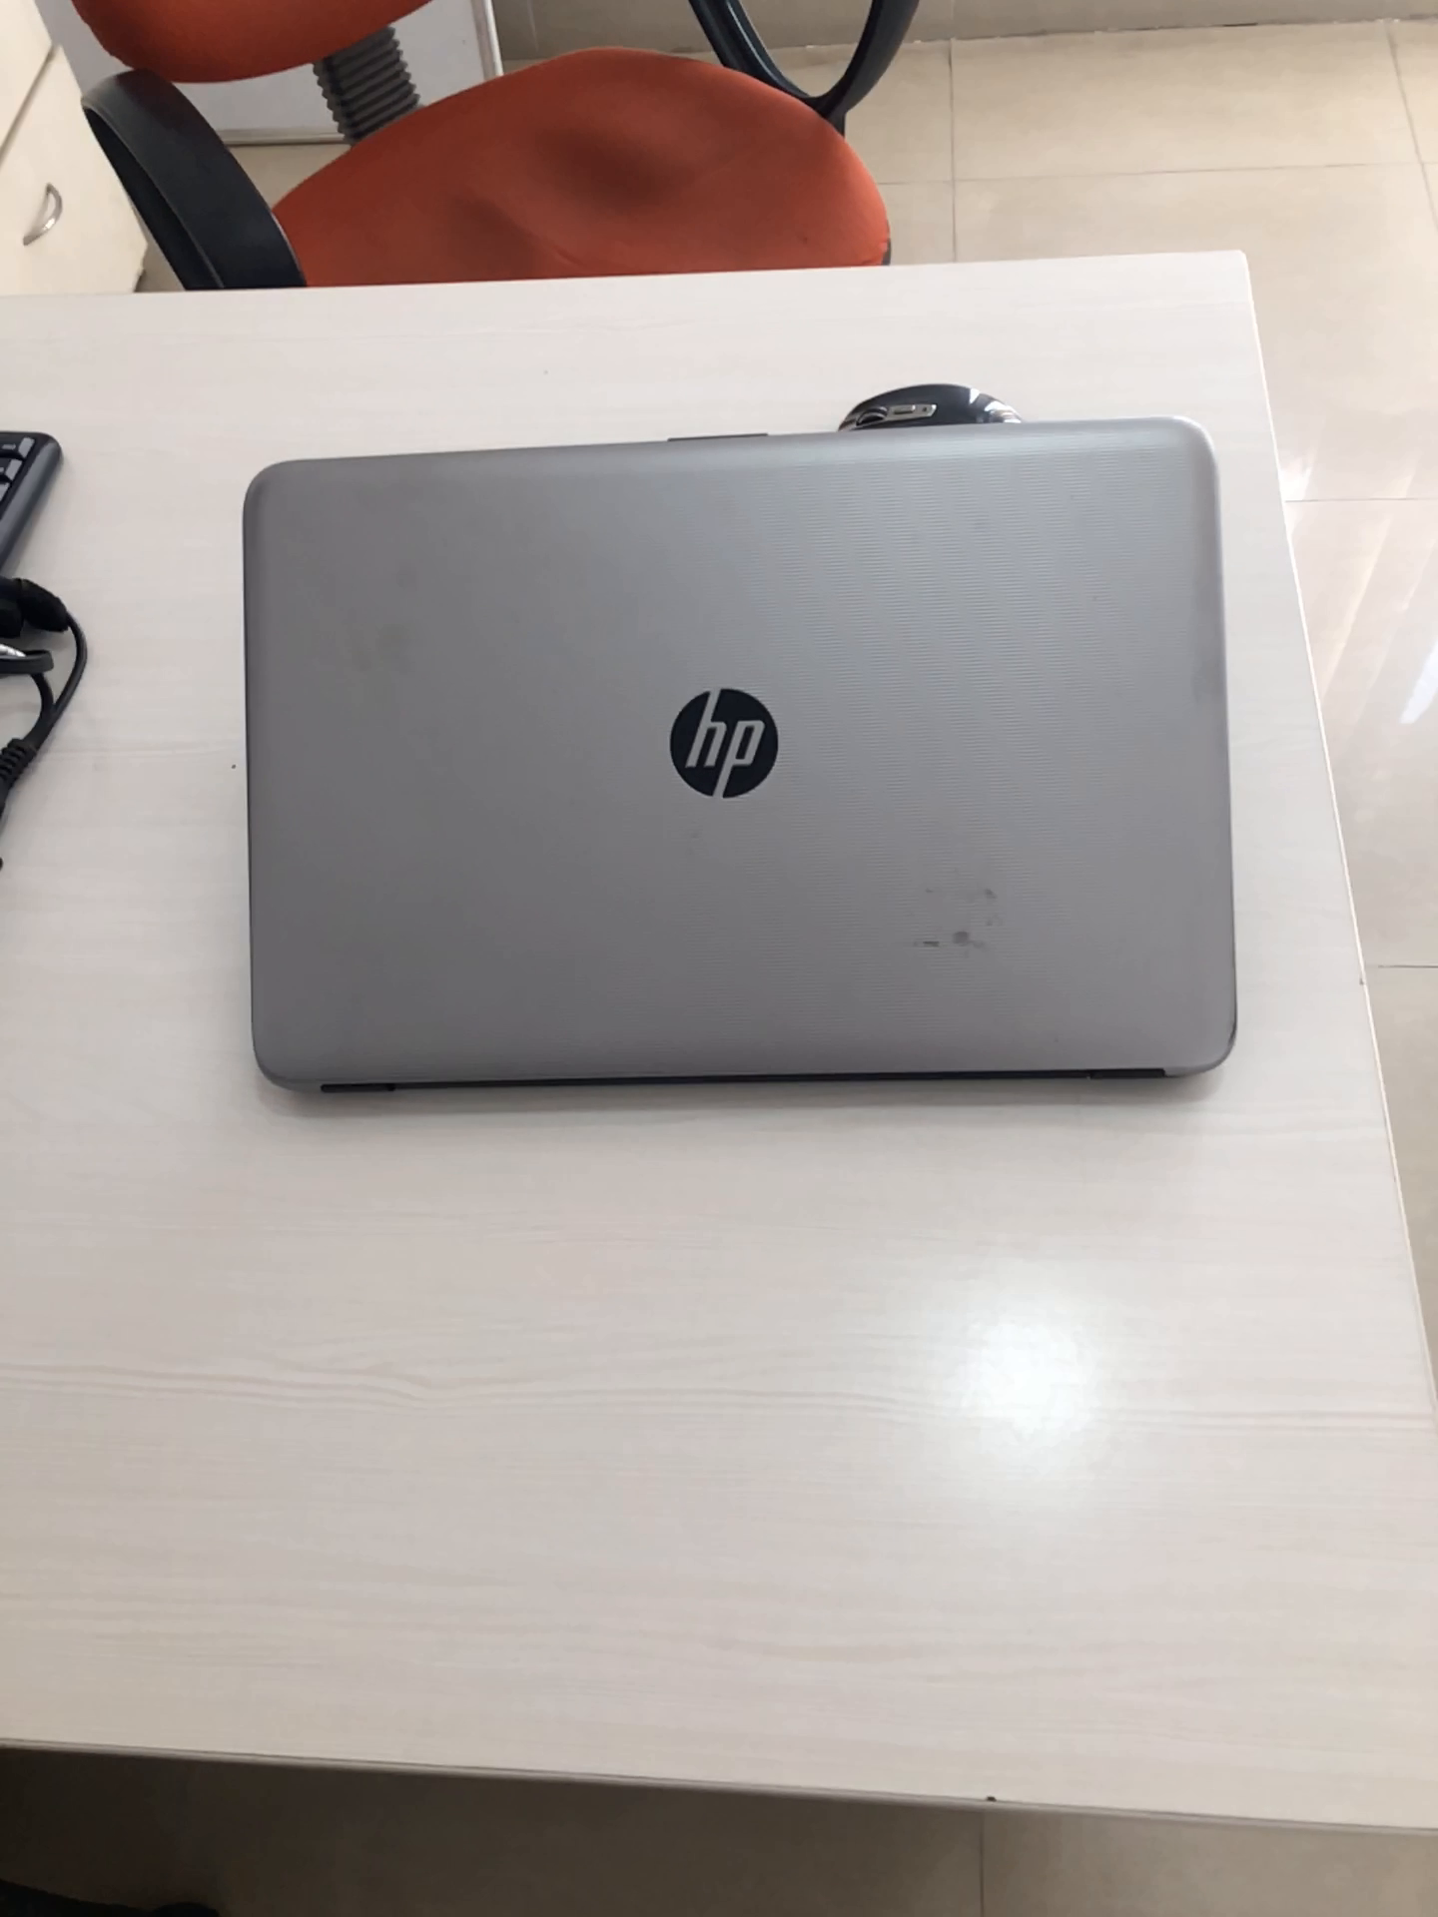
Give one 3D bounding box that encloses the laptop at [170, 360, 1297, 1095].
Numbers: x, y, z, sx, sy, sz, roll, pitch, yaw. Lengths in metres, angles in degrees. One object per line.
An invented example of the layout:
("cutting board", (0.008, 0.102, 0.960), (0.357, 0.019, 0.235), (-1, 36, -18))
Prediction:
("laptop", (0.003, -0.090, 0.627), (0.369, 0.120, 0.252), (-2, 60, 6))
